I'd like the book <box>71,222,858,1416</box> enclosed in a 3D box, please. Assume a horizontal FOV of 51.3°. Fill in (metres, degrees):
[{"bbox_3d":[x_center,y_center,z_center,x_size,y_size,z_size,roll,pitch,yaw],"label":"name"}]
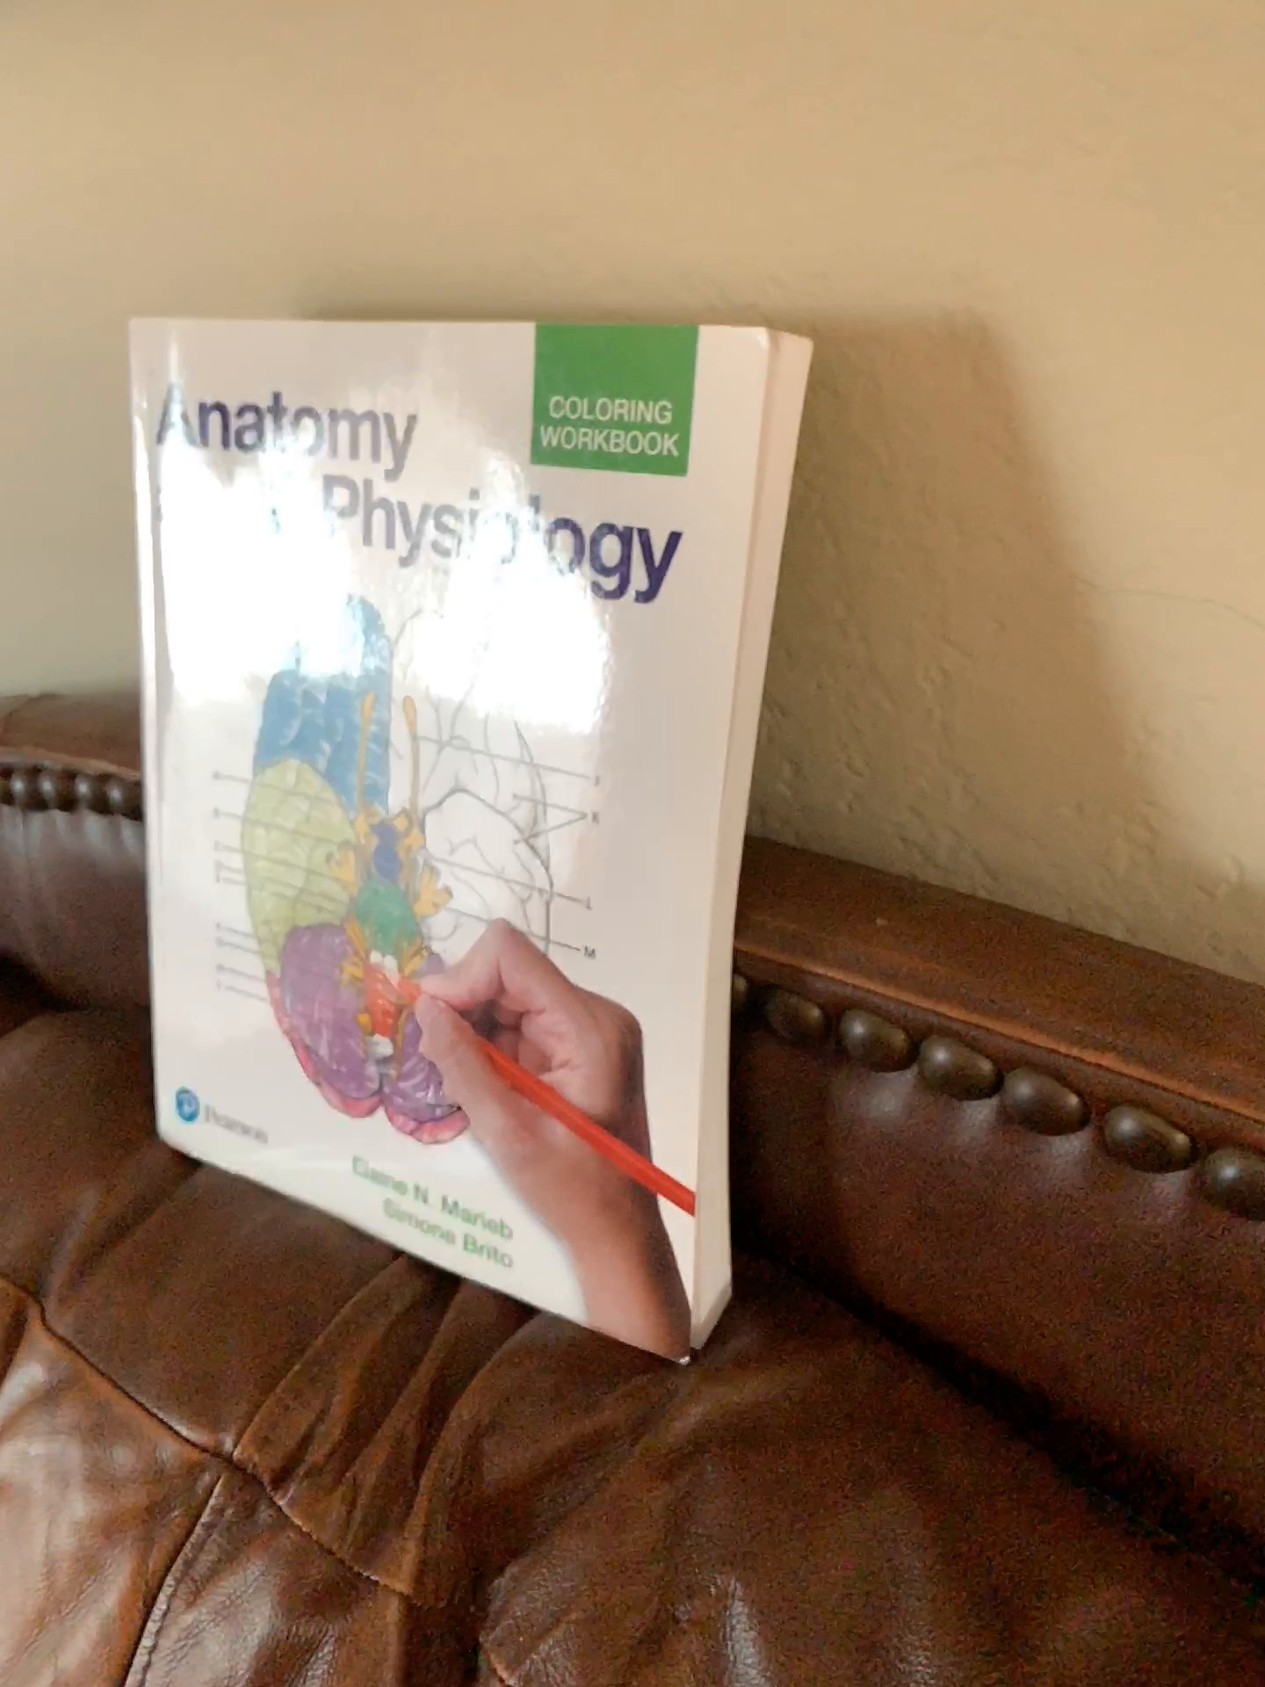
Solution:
[{"bbox_3d":[-0.060,-0.014,0.390,0.221,0.289,0.060,11,17,30],"label":"book"}]
